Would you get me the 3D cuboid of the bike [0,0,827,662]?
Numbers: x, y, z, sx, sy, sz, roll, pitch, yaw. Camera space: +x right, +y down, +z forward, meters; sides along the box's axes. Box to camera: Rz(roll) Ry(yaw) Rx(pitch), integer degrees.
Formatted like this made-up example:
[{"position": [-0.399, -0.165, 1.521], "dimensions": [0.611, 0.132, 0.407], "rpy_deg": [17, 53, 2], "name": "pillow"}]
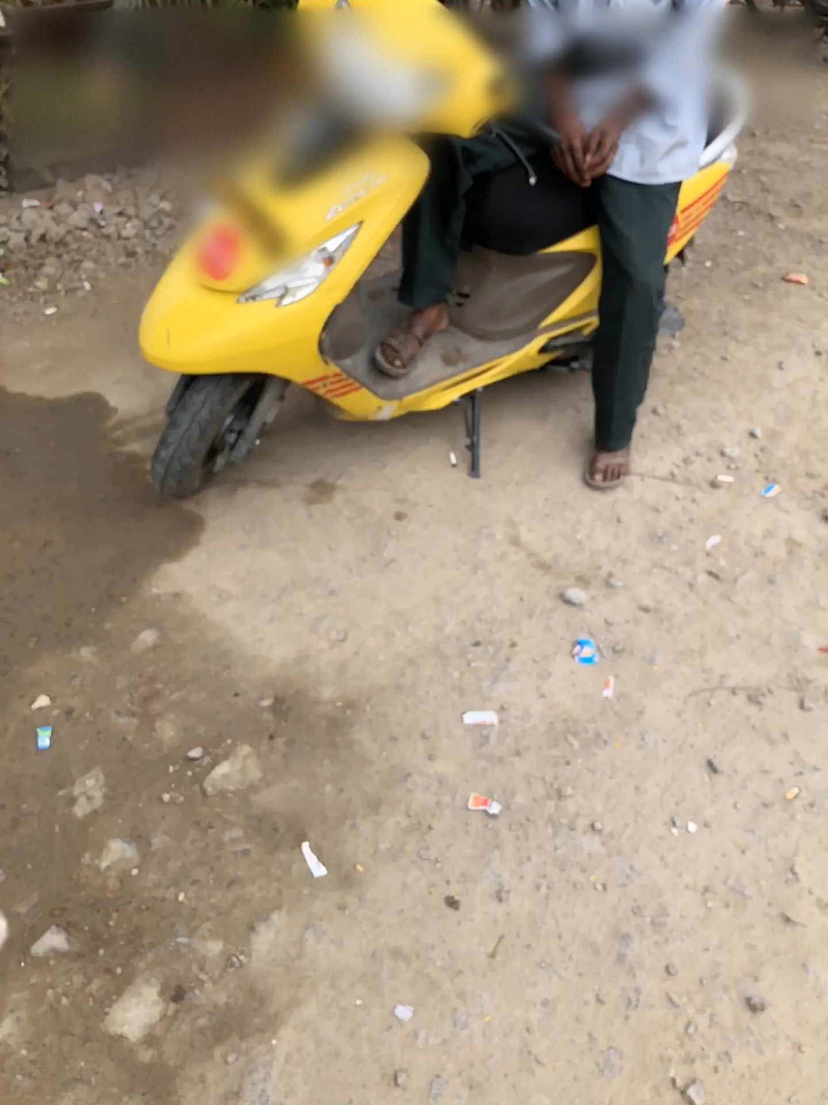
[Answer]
[{"position": [0.091, -0.762, 2.300], "dimensions": [1.659, 1.160, 0.891], "rpy_deg": [-26, 49, -27], "name": "bike"}]
